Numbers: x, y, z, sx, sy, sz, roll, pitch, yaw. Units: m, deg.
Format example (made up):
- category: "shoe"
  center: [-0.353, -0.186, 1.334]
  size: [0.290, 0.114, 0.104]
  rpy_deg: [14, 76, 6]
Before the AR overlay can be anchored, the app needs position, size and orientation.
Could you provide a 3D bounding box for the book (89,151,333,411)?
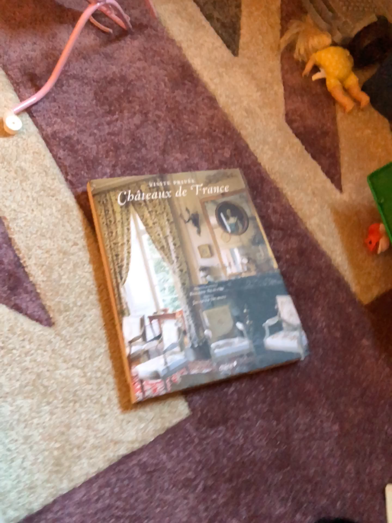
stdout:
- category: "book"
  center: [0.009, 0.002, 0.612]
  size: [0.261, 0.050, 0.340]
  rpy_deg: [-9, 67, -20]
